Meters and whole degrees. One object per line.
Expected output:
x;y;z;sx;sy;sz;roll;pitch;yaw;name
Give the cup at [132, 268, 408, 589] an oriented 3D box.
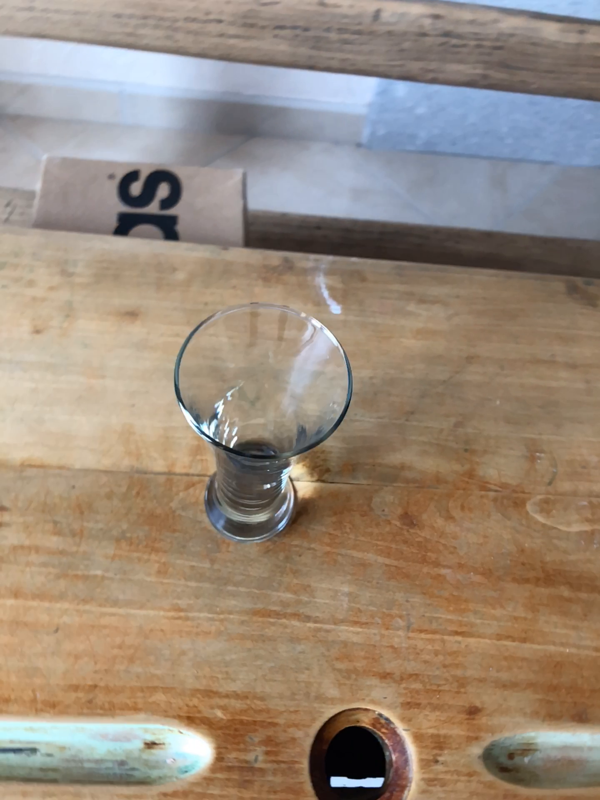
-0.019;0.024;0.321;0.080;0.149;0.070;-31;71;-20;cup
